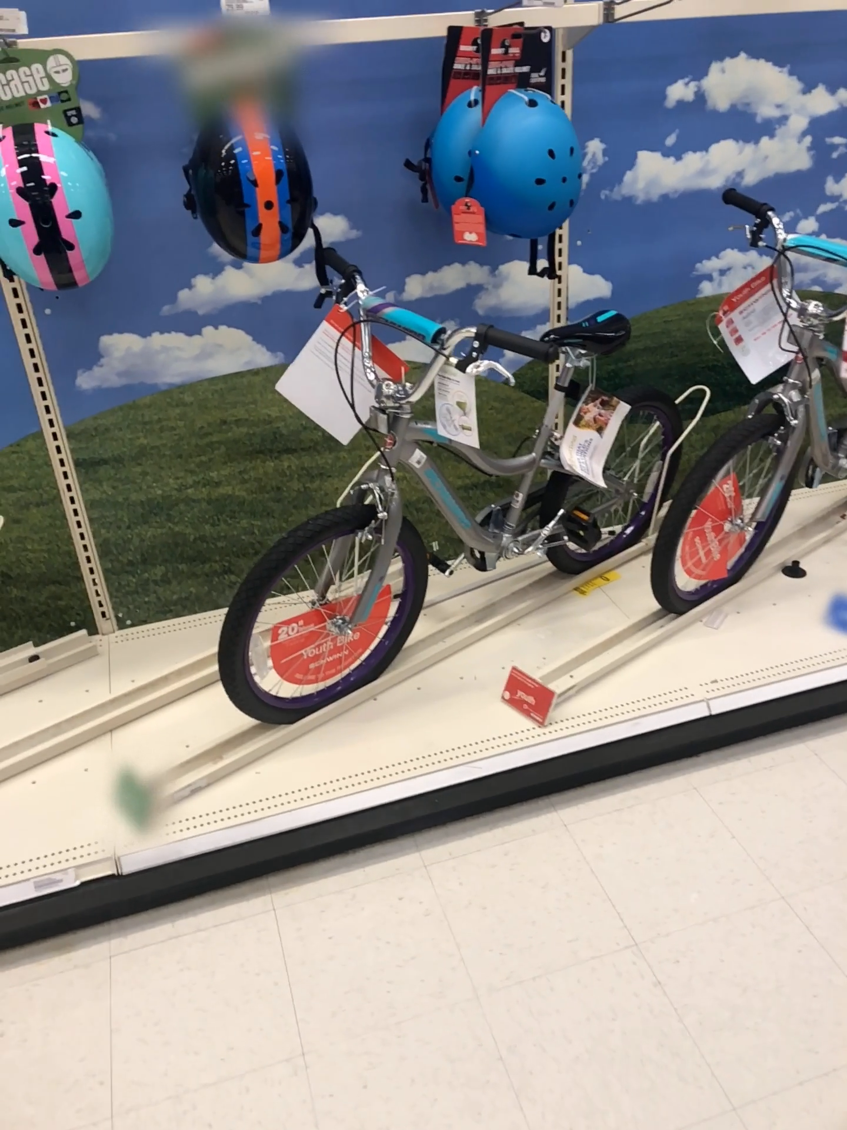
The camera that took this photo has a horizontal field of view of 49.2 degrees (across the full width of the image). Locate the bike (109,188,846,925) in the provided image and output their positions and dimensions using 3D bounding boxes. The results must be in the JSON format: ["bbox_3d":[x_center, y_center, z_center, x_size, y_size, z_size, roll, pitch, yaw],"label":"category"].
[{"bbox_3d":[0.178,-0.148,1.947,1.323,0.878,0.651,-27,38,-30],"label":"bike"}]
